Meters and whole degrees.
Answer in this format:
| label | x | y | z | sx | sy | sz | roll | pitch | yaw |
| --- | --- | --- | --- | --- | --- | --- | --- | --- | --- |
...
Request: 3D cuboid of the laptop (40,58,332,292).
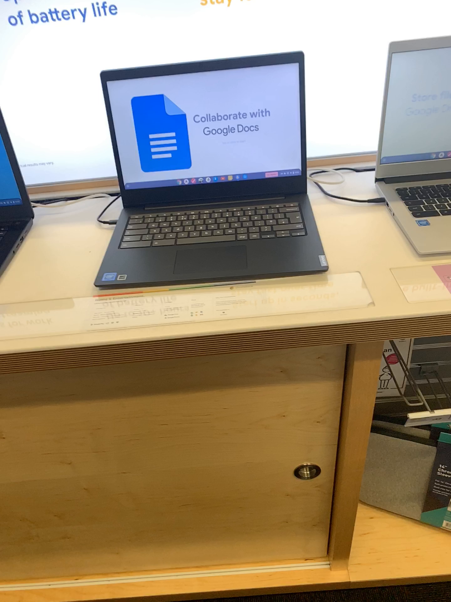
| label | x | y | z | sx | sy | sz | roll | pitch | yaw |
| --- | --- | --- | --- | --- | --- | --- | --- | --- | --- |
| laptop | -0.035 | -0.191 | 0.666 | 0.315 | 0.201 | 0.283 | -4 | 39 | 3 |
